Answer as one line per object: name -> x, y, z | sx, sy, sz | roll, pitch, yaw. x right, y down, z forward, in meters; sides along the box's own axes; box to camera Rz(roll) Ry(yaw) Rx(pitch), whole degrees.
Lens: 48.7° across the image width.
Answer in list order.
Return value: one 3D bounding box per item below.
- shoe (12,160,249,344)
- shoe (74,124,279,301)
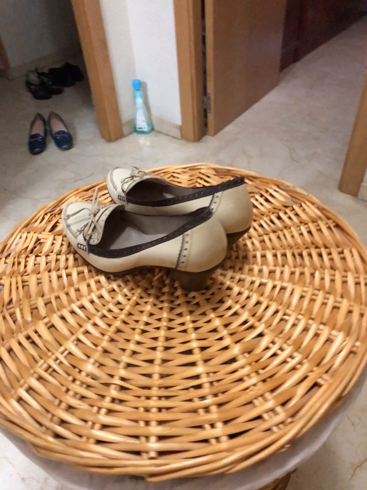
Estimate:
shoe -> -0.067, -0.006, 0.477 | 0.260, 0.090, 0.100 | 24, 45, 28
shoe -> -0.019, -0.057, 0.540 | 0.261, 0.110, 0.100 | 31, 49, 33
